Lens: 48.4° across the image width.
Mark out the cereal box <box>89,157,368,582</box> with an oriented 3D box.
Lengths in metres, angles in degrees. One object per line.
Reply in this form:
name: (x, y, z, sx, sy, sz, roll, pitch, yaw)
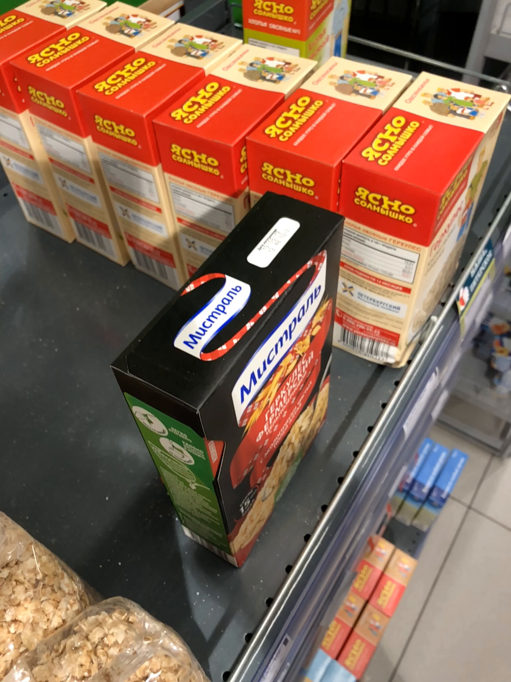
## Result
cereal box: (-0.001, 0.033, 0.327, 0.050, 0.219, 0.140, 24, 58, 19)
